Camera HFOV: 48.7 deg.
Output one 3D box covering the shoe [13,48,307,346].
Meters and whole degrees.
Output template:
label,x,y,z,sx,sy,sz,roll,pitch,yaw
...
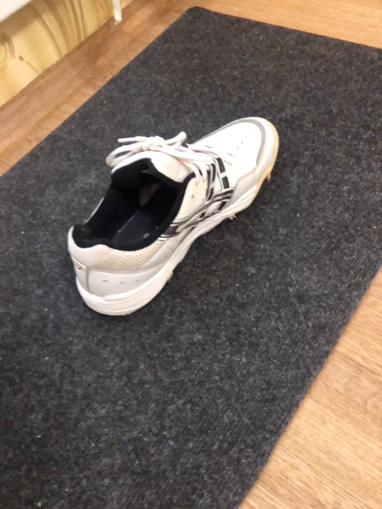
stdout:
label,x,y,z,sx,sy,sz,roll,pitch,yaw
shoe,-0.010,-0.066,0.409,0.100,0.100,0.280,31,68,27
